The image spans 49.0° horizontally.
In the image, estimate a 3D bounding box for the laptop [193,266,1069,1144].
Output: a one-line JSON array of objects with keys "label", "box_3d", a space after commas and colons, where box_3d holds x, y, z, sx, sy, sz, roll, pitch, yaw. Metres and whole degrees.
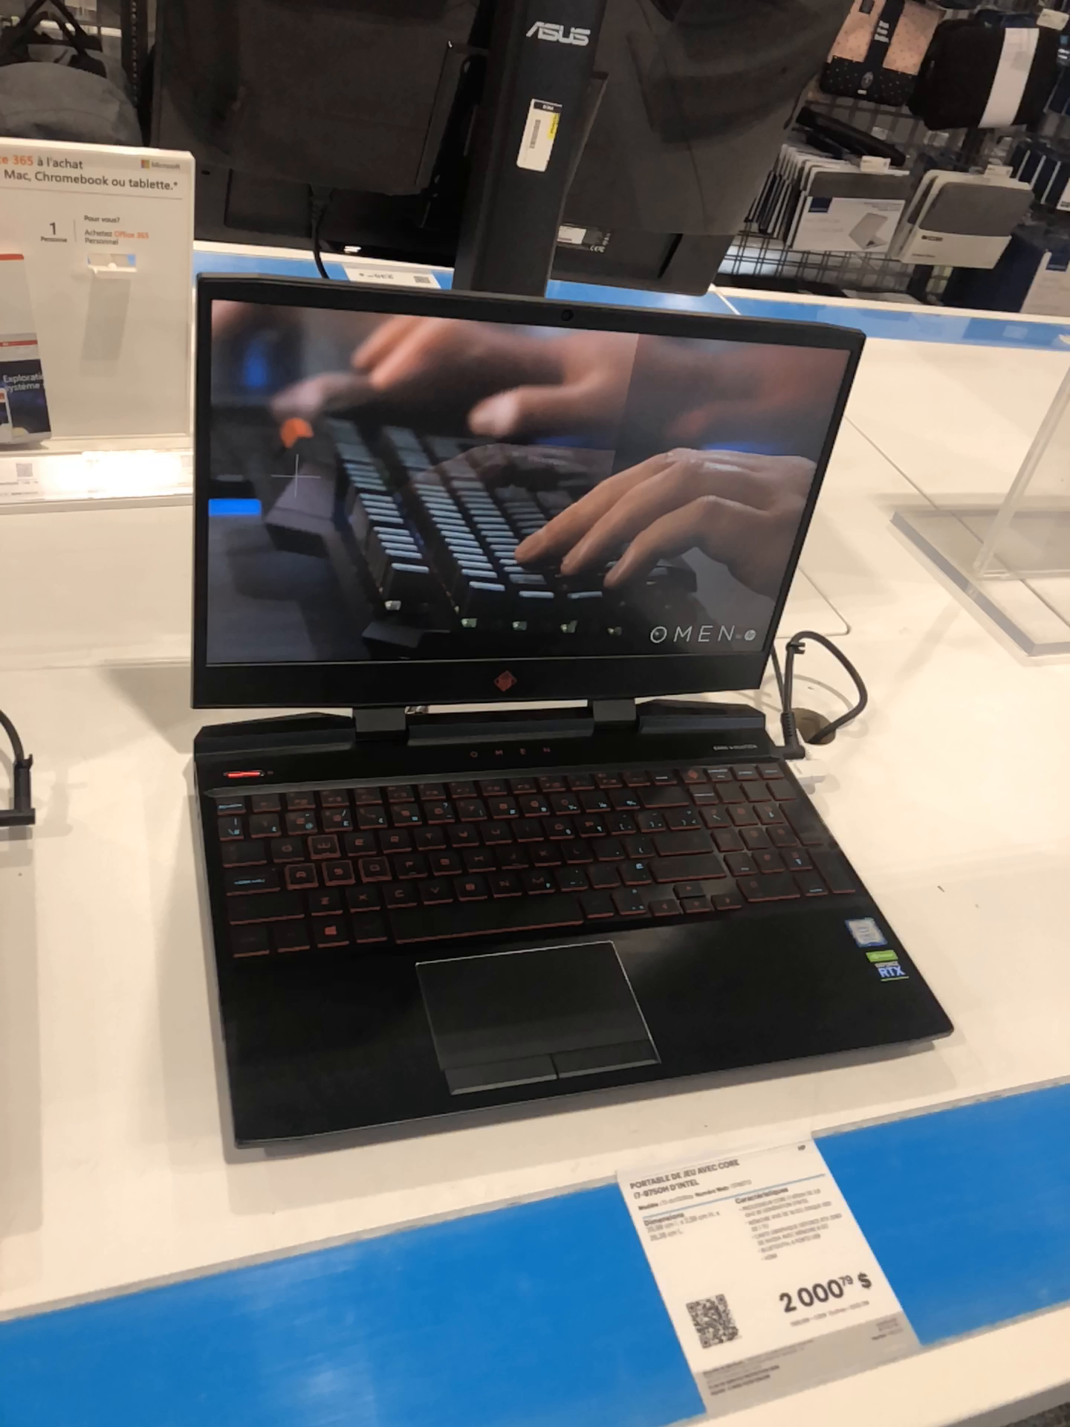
[{"label": "laptop", "box_3d": [0.030, -0.023, 0.574, 0.356, 0.239, 0.294, -3, 42, -20]}]
